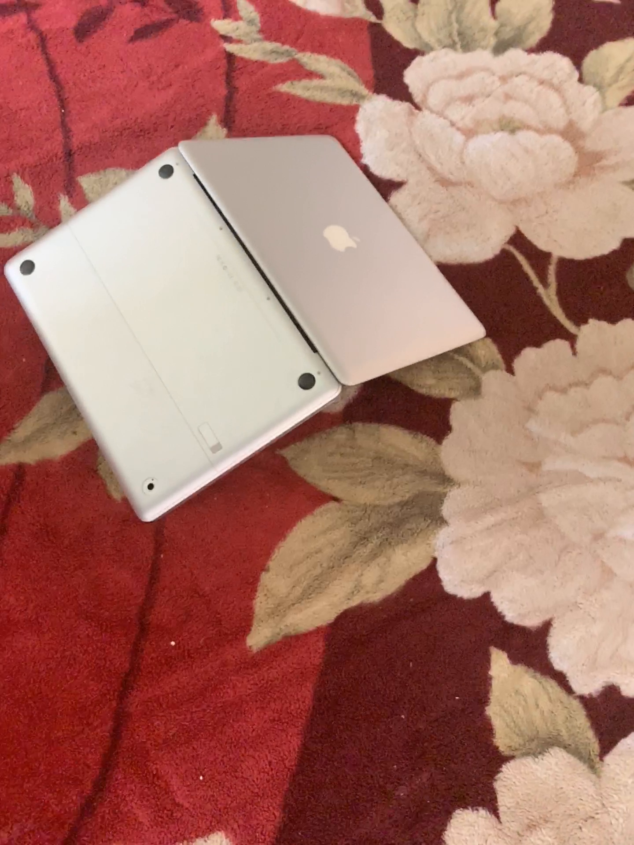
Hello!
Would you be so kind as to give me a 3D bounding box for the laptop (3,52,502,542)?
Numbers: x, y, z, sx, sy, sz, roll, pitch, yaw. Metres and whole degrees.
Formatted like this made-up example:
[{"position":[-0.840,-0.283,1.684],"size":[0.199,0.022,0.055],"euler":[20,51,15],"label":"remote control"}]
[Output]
[{"position":[-0.084,-0.128,0.669],"size":[0.390,0.078,0.316],"euler":[-33,75,1],"label":"laptop"}]
